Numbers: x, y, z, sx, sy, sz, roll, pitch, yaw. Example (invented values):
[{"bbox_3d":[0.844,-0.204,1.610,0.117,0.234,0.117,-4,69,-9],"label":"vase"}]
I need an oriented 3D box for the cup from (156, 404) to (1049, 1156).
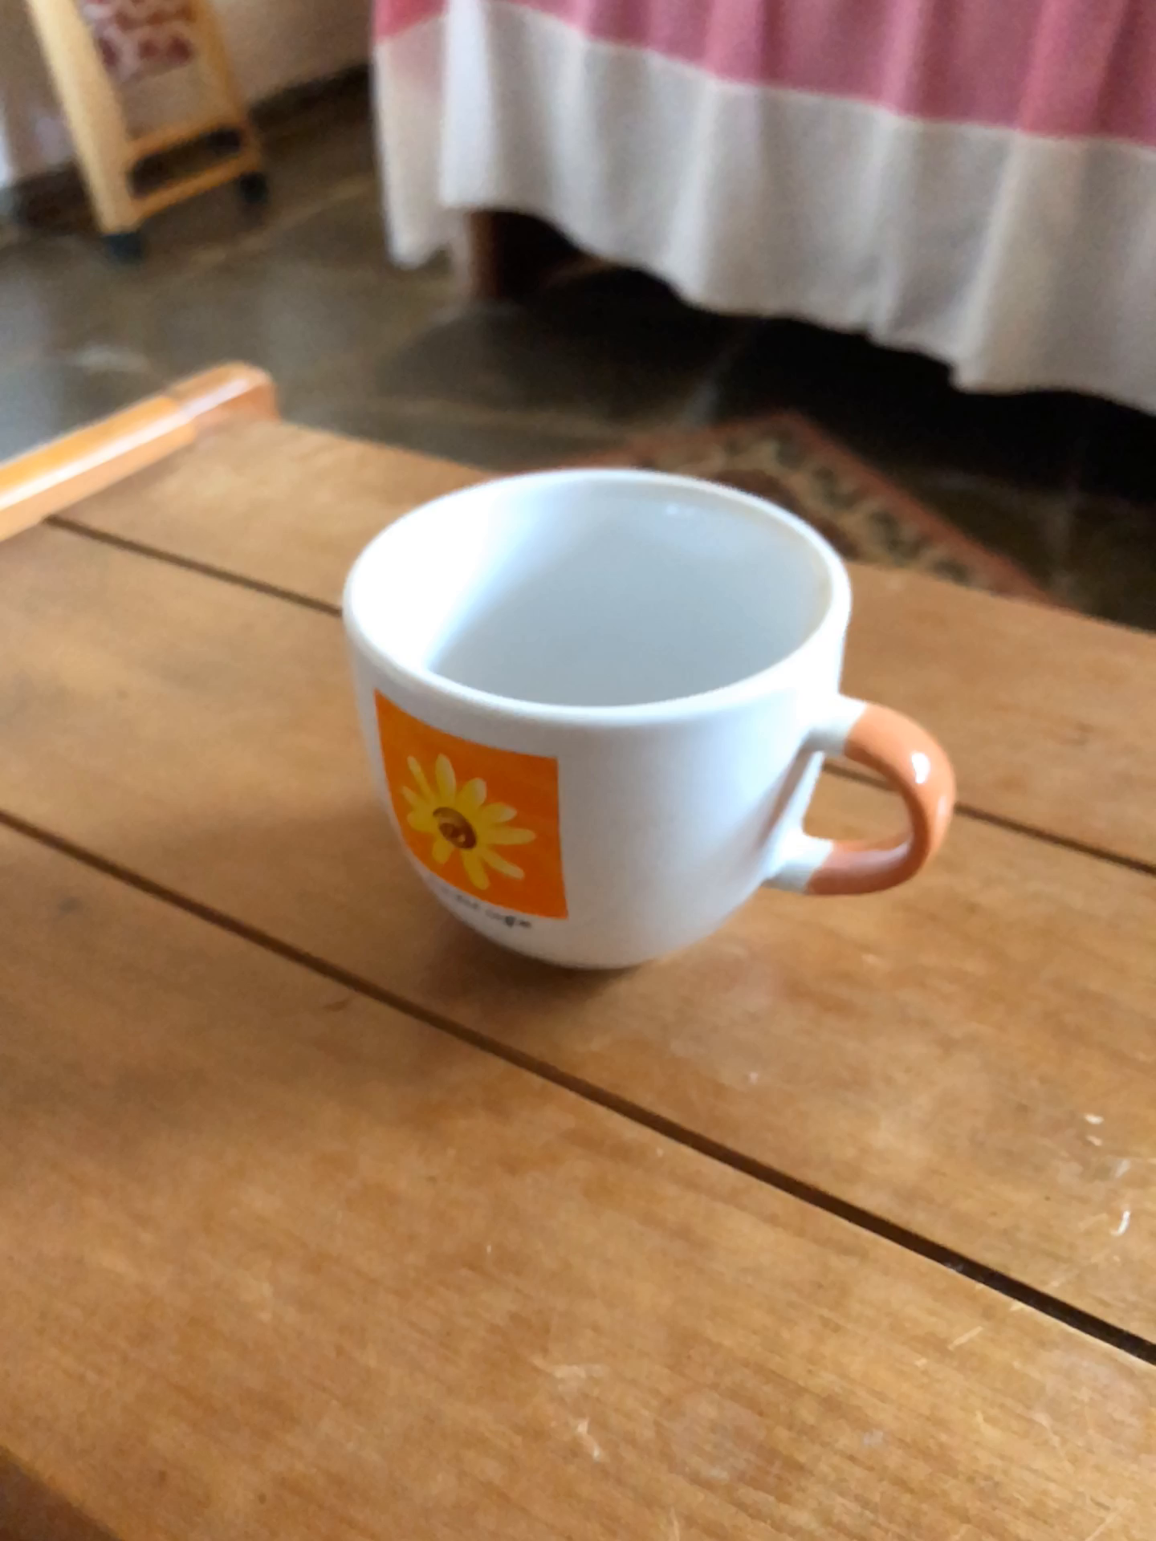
[{"bbox_3d":[0.008,-0.008,0.221,0.110,0.060,0.091,17,41,22],"label":"cup"}]
